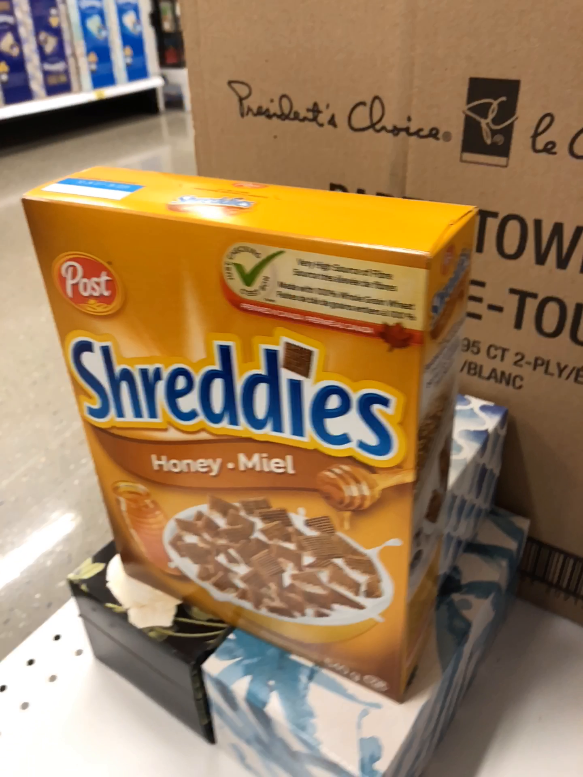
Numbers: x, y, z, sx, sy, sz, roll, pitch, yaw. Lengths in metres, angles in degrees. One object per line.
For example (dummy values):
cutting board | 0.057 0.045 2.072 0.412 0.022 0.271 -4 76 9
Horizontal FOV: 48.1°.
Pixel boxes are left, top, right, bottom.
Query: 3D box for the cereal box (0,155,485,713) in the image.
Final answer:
cereal box | -0.029 0.024 0.349 0.220 0.259 0.060 15 36 26
